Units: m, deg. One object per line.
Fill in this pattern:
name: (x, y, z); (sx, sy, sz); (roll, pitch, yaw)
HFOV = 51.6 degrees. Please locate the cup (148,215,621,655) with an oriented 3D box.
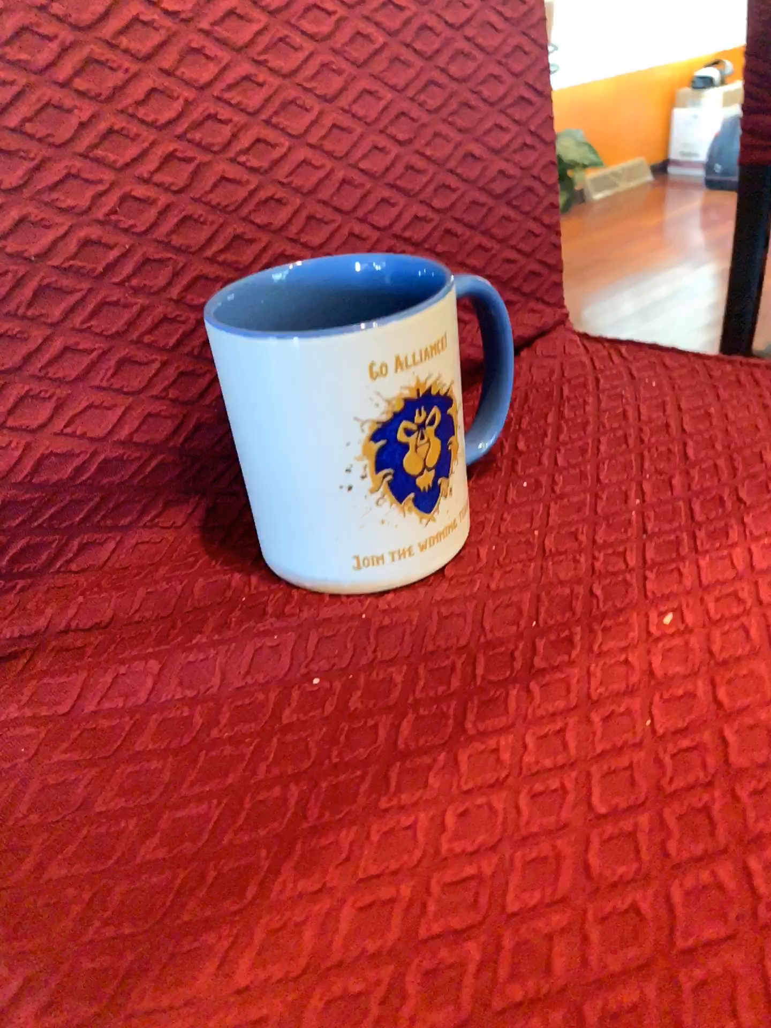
cup: (0.004, -0.041, 0.301); (0.130, 0.099, 0.100); (-28, 38, -28)
